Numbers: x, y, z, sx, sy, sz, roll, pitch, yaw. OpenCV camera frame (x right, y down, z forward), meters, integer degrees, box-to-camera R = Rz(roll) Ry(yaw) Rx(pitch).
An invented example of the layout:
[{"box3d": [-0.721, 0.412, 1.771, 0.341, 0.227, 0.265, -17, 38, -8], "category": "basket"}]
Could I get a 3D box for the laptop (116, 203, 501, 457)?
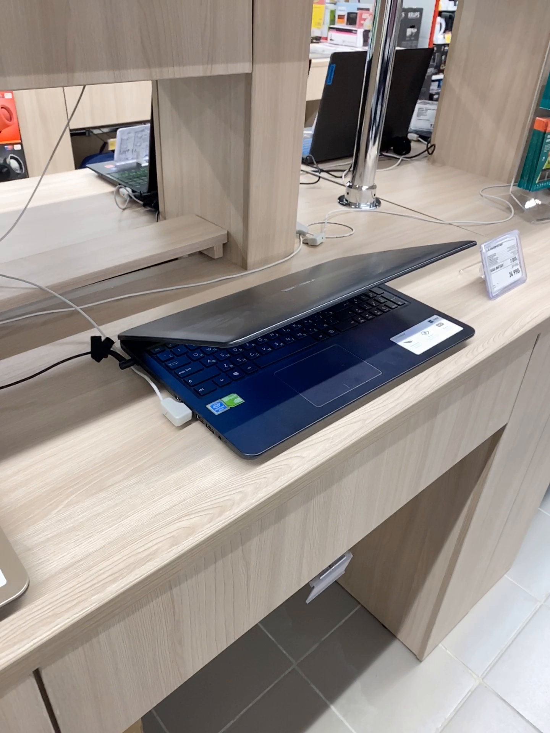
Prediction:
[{"box3d": [0.050, -0.078, 0.667, 0.386, 0.098, 0.236, -24, 44, -35], "category": "laptop"}]
